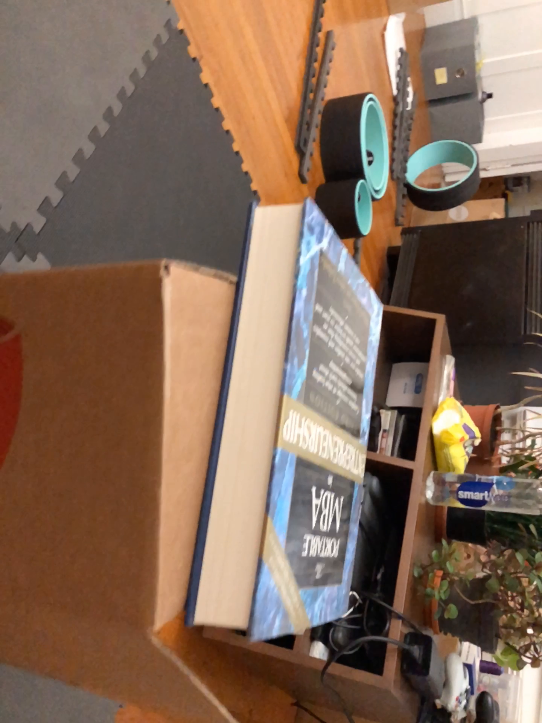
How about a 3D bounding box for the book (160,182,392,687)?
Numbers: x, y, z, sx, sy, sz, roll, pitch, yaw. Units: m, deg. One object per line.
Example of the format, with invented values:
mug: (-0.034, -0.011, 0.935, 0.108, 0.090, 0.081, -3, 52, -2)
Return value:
book: (0.026, 0.054, 0.420, 0.211, 0.060, 0.270, 36, 56, -61)
